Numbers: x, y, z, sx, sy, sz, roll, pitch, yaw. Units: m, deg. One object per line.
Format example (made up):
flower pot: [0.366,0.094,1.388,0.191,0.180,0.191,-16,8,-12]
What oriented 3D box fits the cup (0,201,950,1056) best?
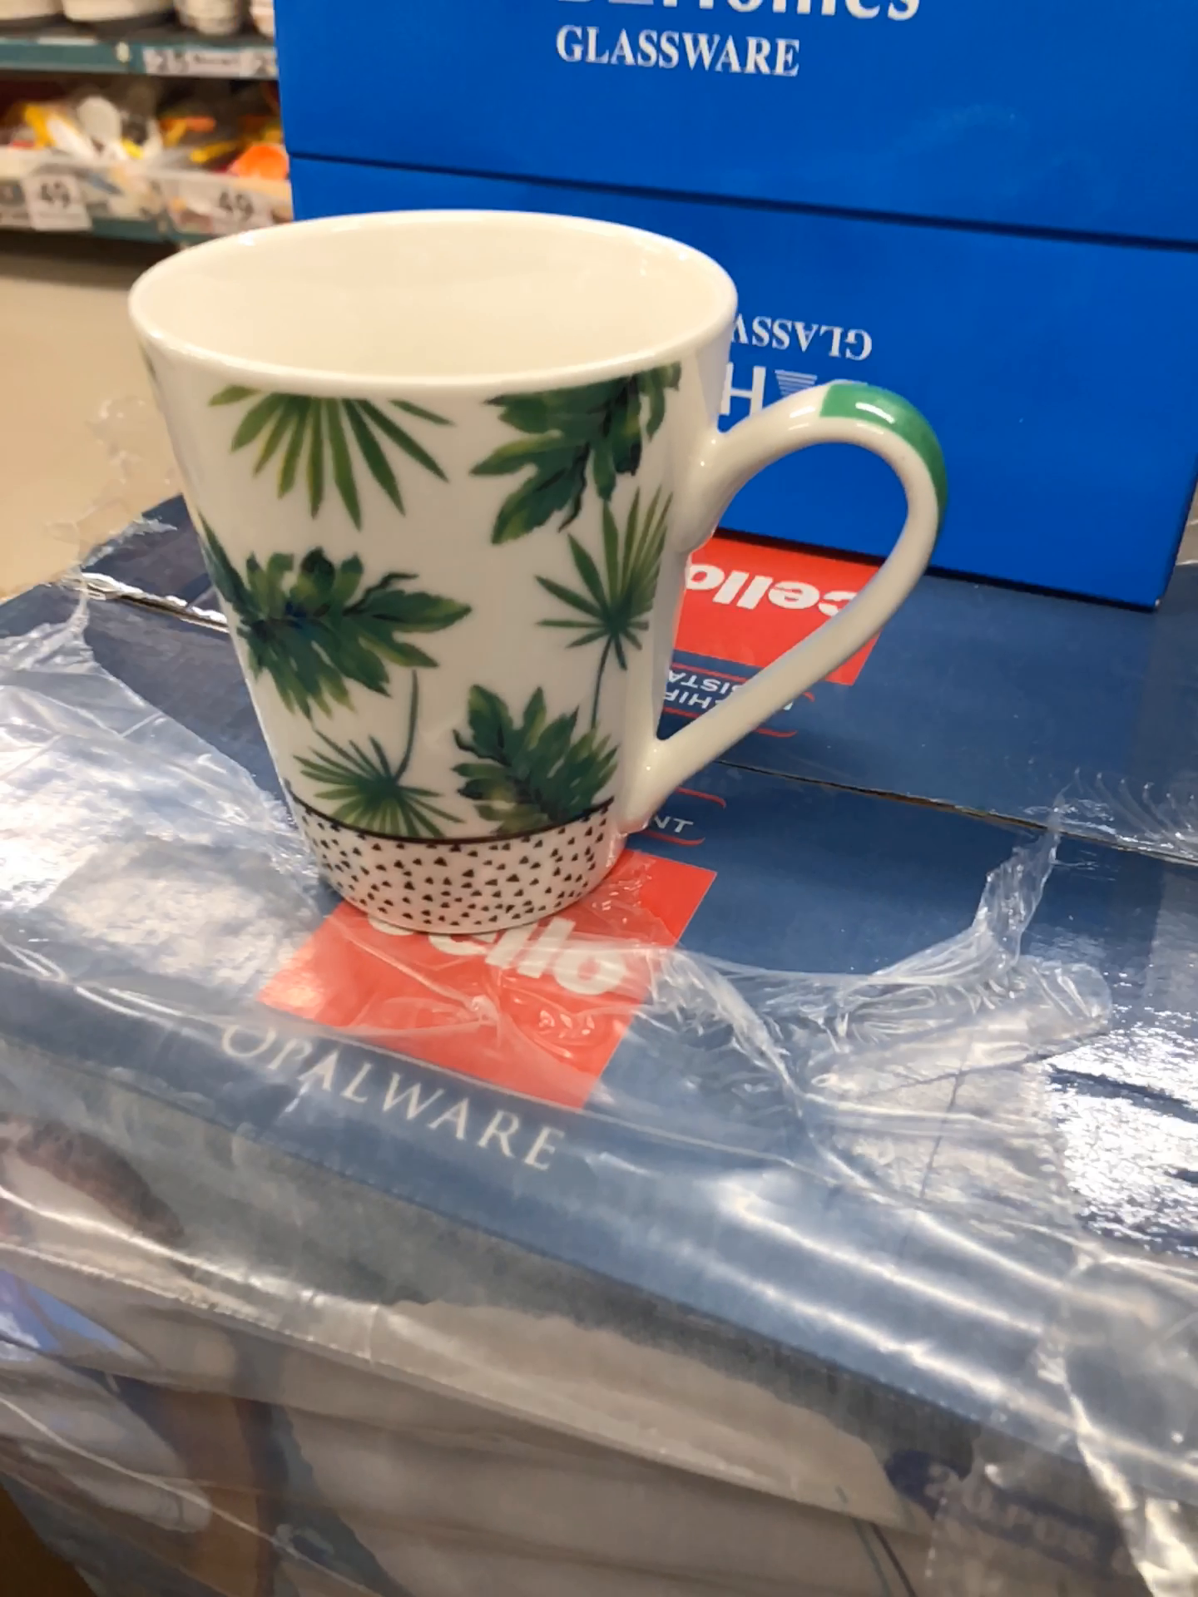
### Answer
cup: [-0.012,-0.031,0.214,0.120,0.099,0.081,6,39,10]
